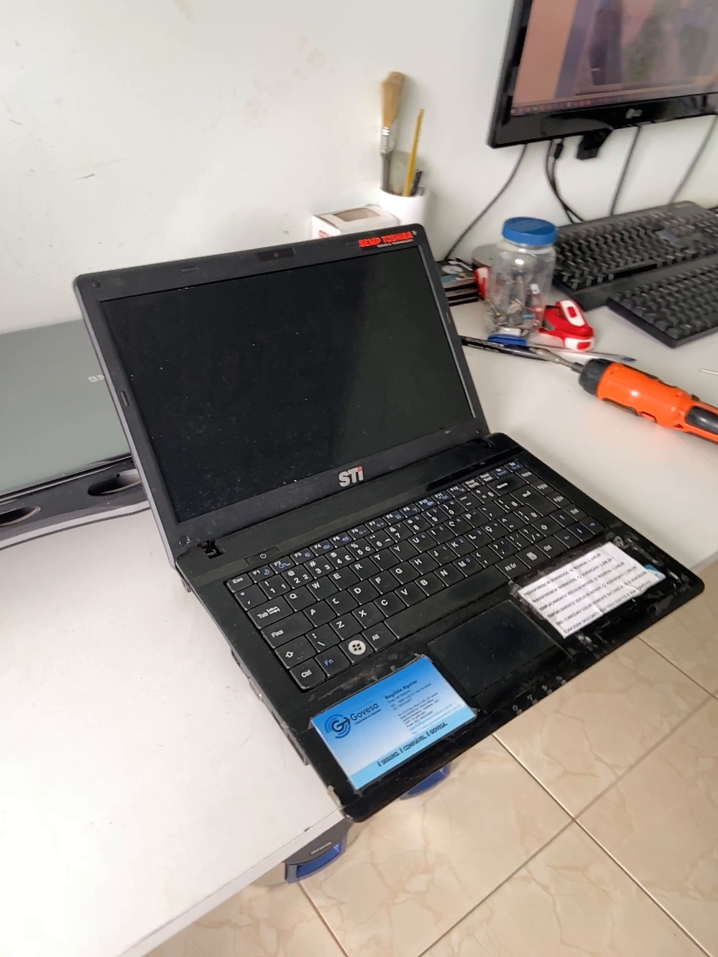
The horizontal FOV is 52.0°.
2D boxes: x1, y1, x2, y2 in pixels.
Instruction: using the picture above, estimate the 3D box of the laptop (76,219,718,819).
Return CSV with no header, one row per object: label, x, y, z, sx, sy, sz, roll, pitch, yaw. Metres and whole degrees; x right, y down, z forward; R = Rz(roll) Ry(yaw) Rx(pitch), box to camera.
laptop,0.031,-0.033,0.558,0.336,0.159,0.385,-20,45,-30
